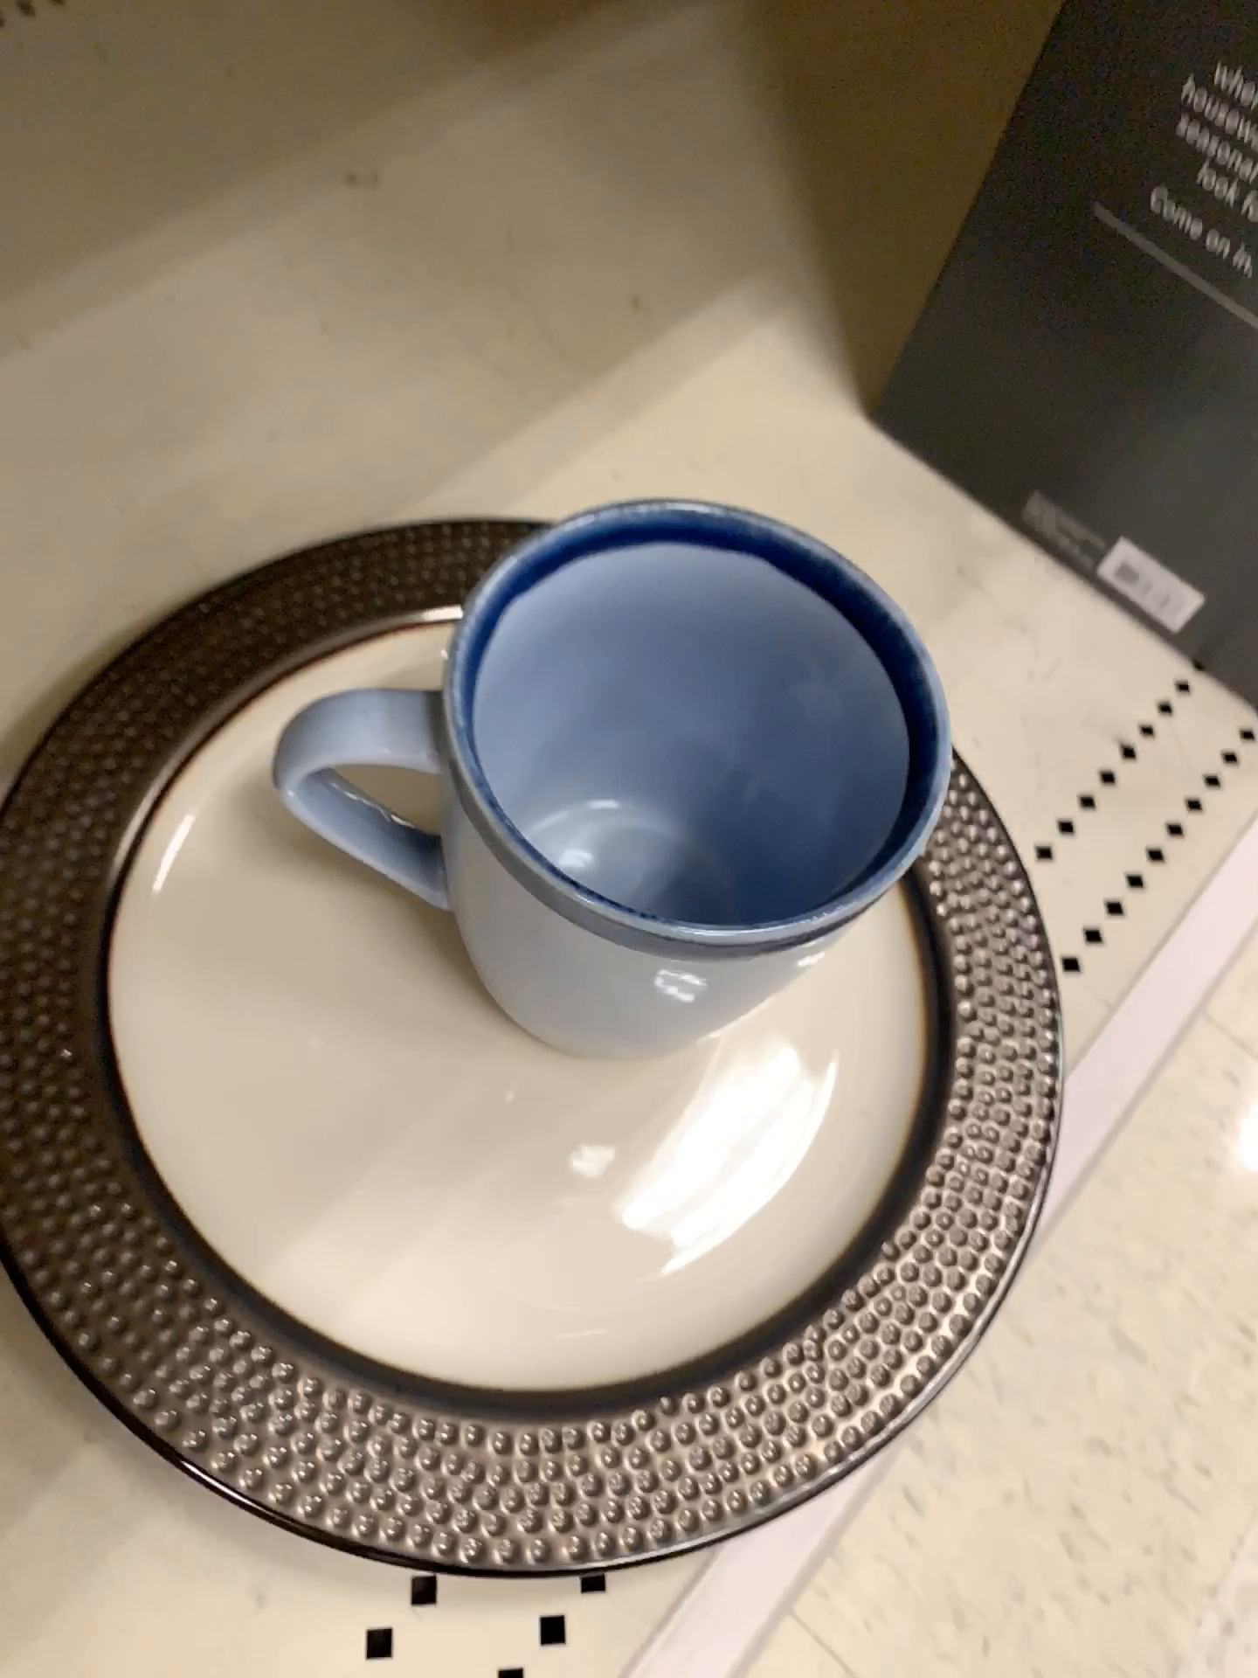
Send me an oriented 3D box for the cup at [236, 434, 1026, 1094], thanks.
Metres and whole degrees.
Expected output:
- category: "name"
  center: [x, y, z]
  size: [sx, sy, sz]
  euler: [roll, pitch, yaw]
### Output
- category: "cup"
  center: [-0.005, -0.007, 0.270]
  size: [0.127, 0.094, 0.093]
  euler: [3, 64, -9]
